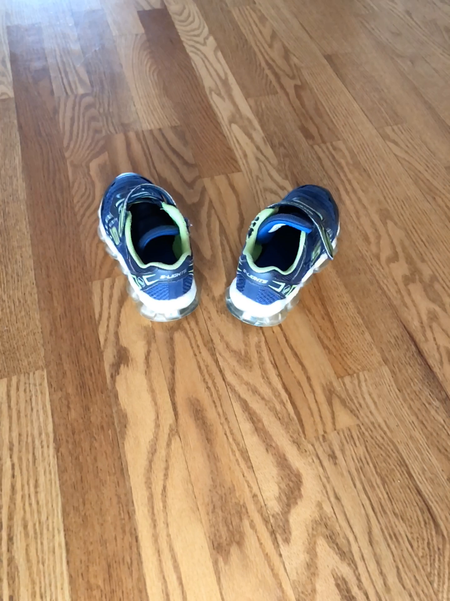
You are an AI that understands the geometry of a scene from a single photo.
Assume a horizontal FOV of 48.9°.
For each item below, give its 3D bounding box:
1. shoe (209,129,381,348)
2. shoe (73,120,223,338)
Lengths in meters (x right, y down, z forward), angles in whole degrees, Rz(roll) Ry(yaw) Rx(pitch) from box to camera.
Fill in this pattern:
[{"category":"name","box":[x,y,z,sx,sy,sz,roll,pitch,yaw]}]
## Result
[{"category":"shoe","box":[0.076,-0.072,0.525,0.093,0.087,0.213,25,58,13]},{"category":"shoe","box":[-0.084,-0.081,0.524,0.093,0.095,0.203,-16,58,-14]}]
